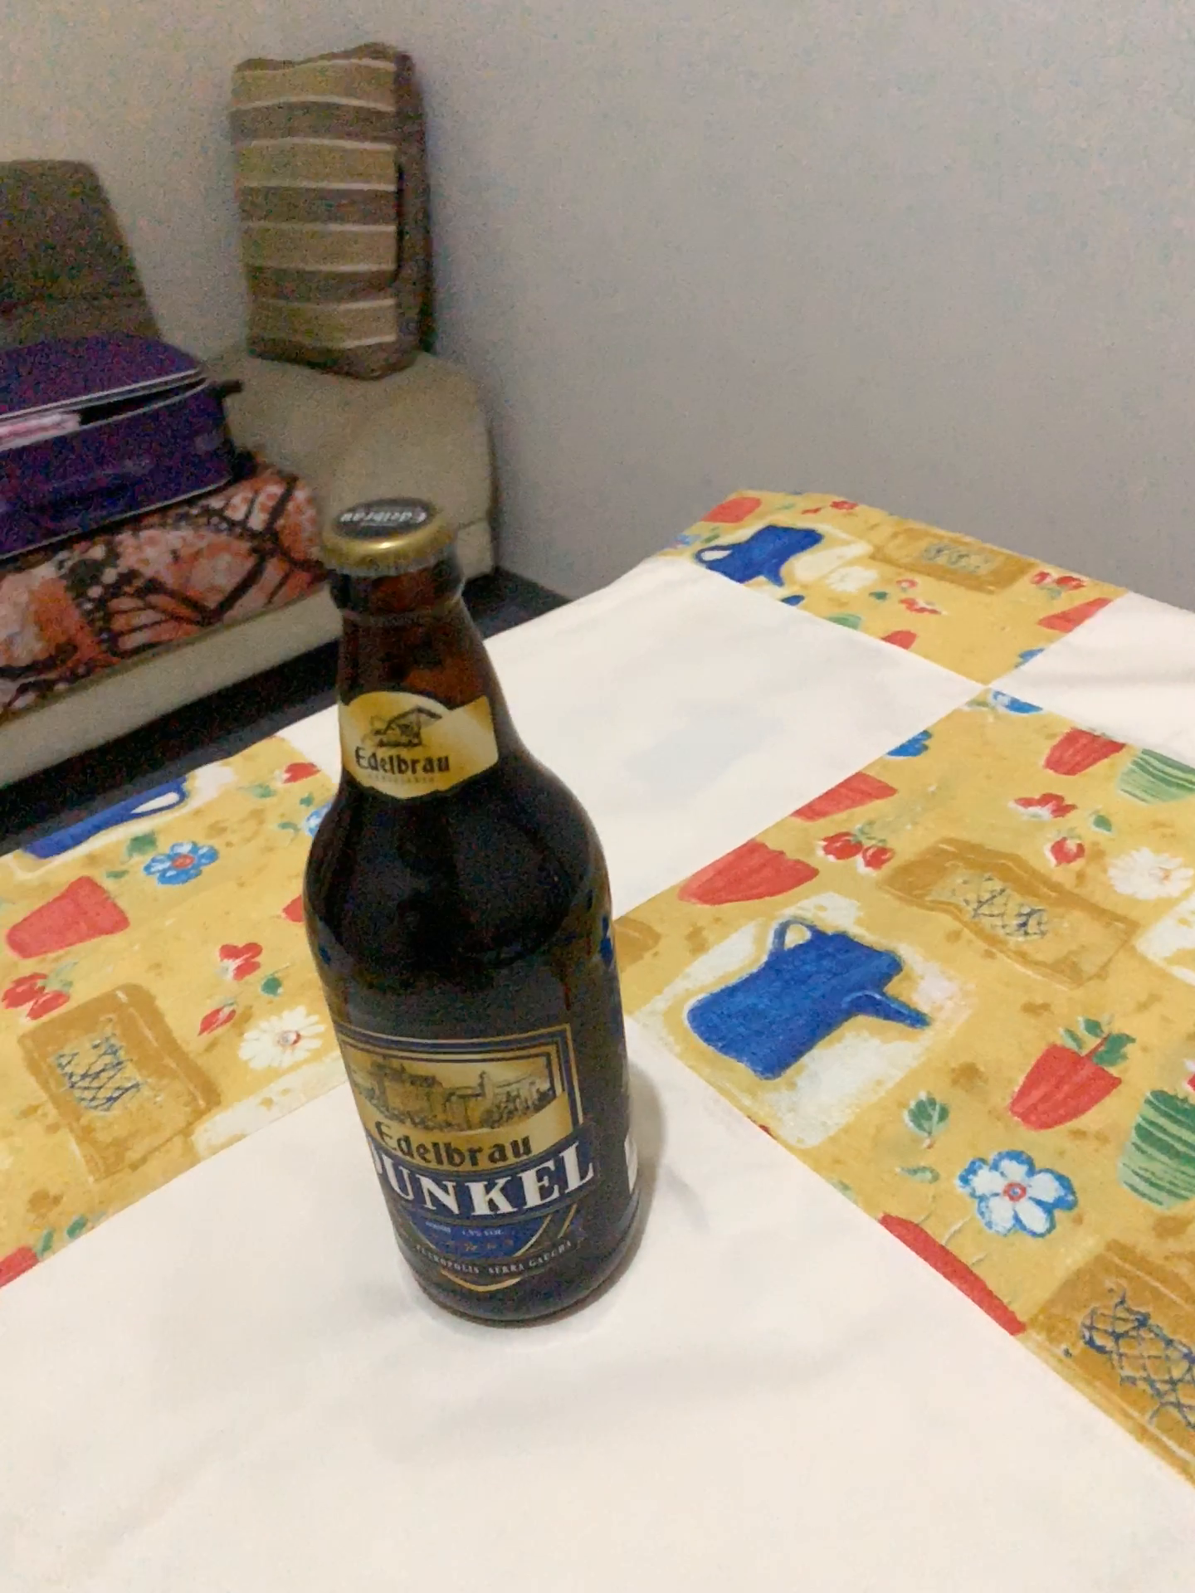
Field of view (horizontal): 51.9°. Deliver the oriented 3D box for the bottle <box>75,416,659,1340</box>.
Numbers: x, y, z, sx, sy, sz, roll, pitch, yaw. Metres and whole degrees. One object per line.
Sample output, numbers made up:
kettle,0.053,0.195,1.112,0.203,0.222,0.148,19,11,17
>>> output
bottle,-0.036,0.030,0.302,0.080,0.219,0.080,-4,35,3
